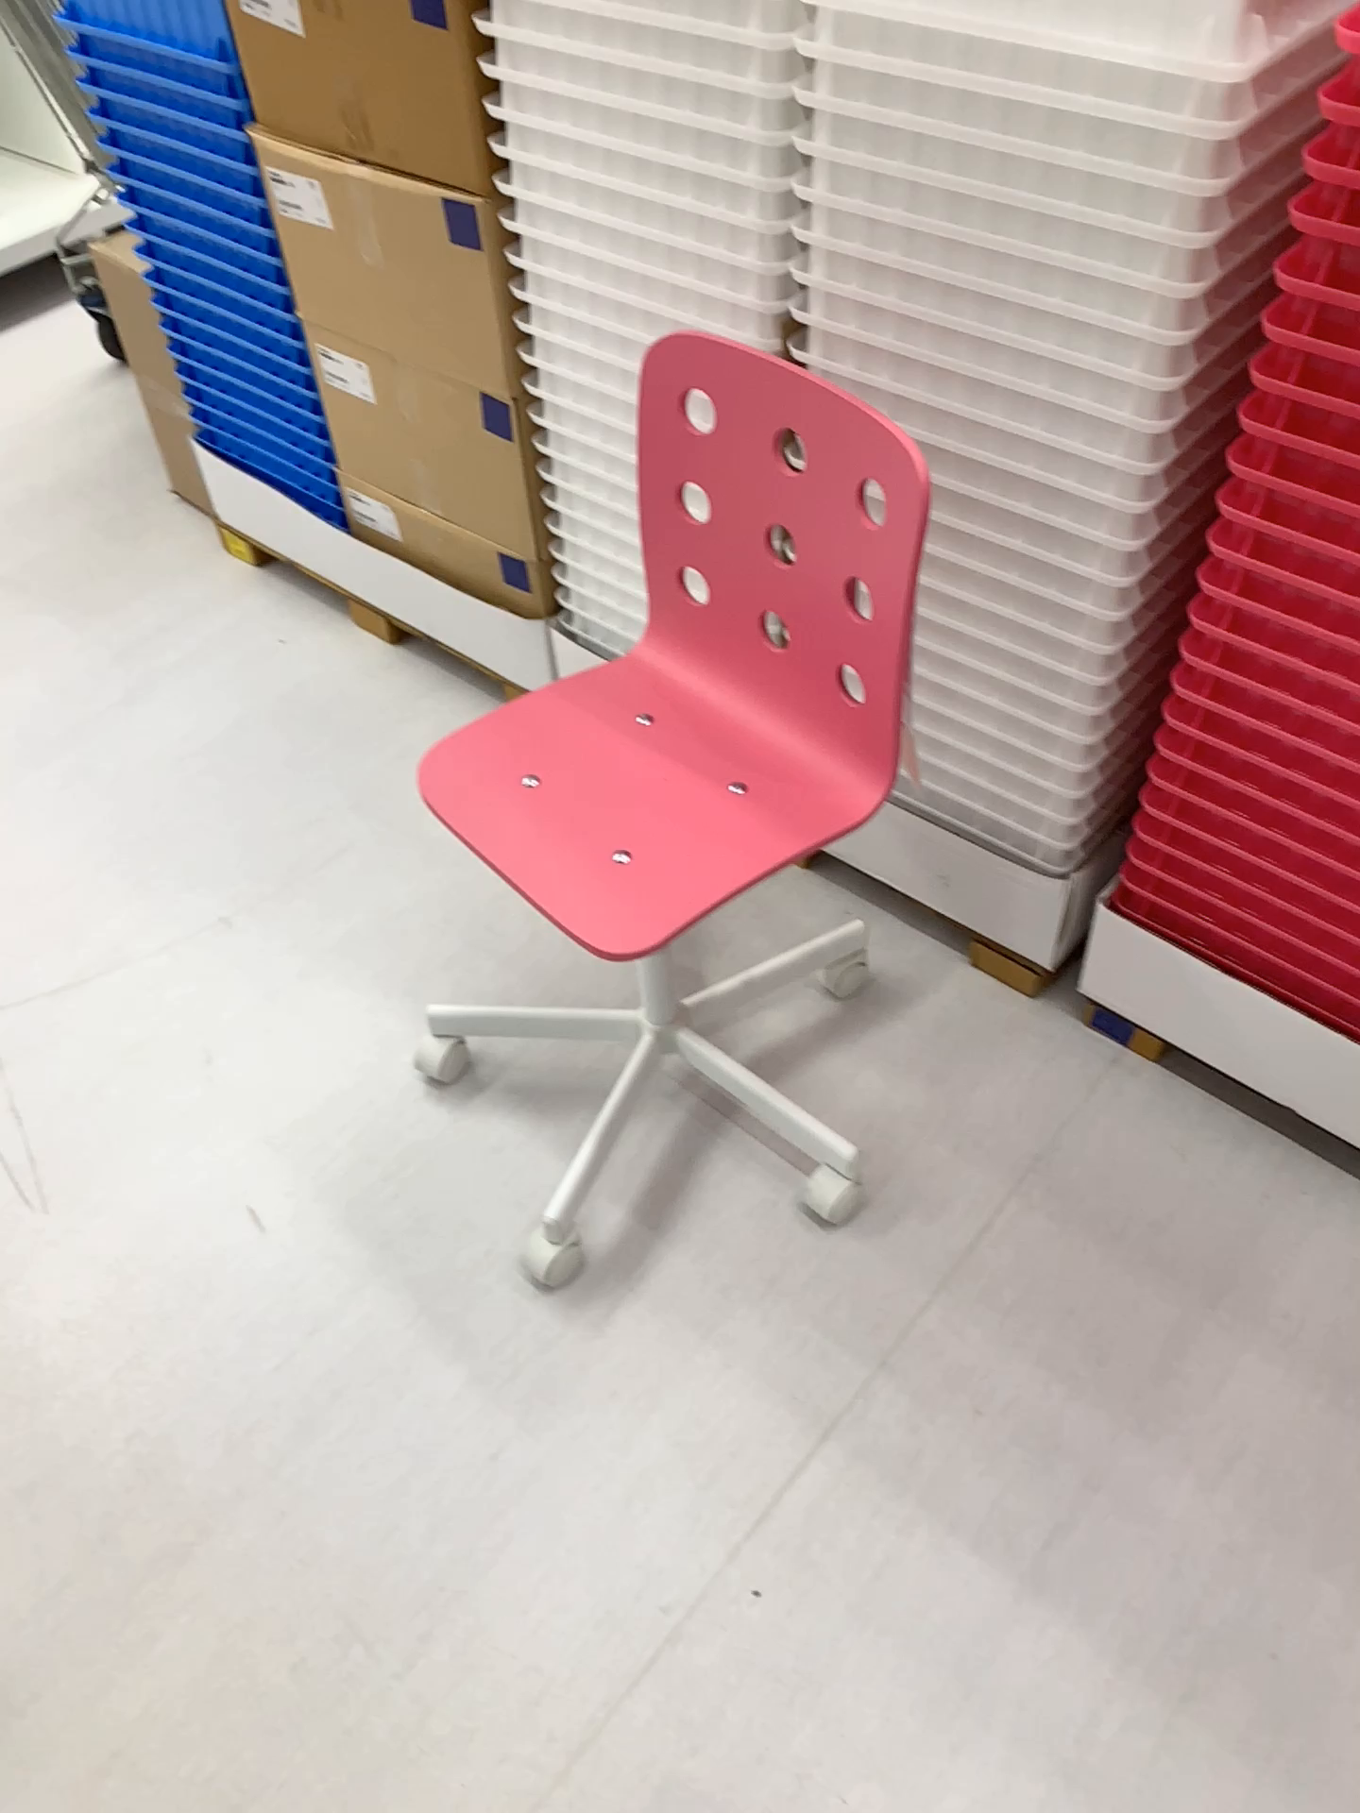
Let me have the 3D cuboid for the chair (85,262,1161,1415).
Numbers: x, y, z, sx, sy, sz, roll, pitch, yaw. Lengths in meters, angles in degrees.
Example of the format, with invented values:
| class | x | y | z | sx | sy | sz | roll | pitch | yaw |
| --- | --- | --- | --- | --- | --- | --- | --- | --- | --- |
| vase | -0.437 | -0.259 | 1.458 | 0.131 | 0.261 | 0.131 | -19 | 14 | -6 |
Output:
| class | x | y | z | sx | sy | sz | roll | pitch | yaw |
| --- | --- | --- | --- | --- | --- | --- | --- | --- | --- |
| chair | -0.029 | -0.067 | 1.284 | 0.581 | 0.707 | 0.552 | -36 | 54 | -25 |
